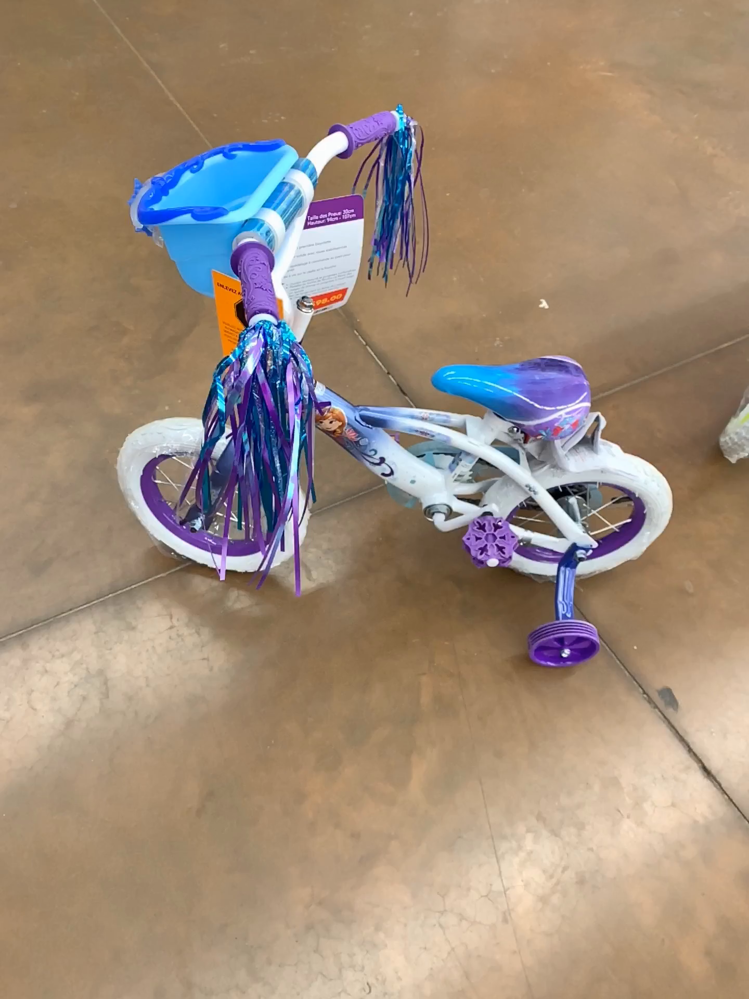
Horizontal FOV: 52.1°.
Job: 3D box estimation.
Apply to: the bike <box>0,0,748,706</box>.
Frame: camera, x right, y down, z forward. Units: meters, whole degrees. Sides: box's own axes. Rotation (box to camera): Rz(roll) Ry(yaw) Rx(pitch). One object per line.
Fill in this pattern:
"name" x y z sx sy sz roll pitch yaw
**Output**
"bike" 0.069 -0.108 0.945 0.804 0.633 0.441 6 53 -7
